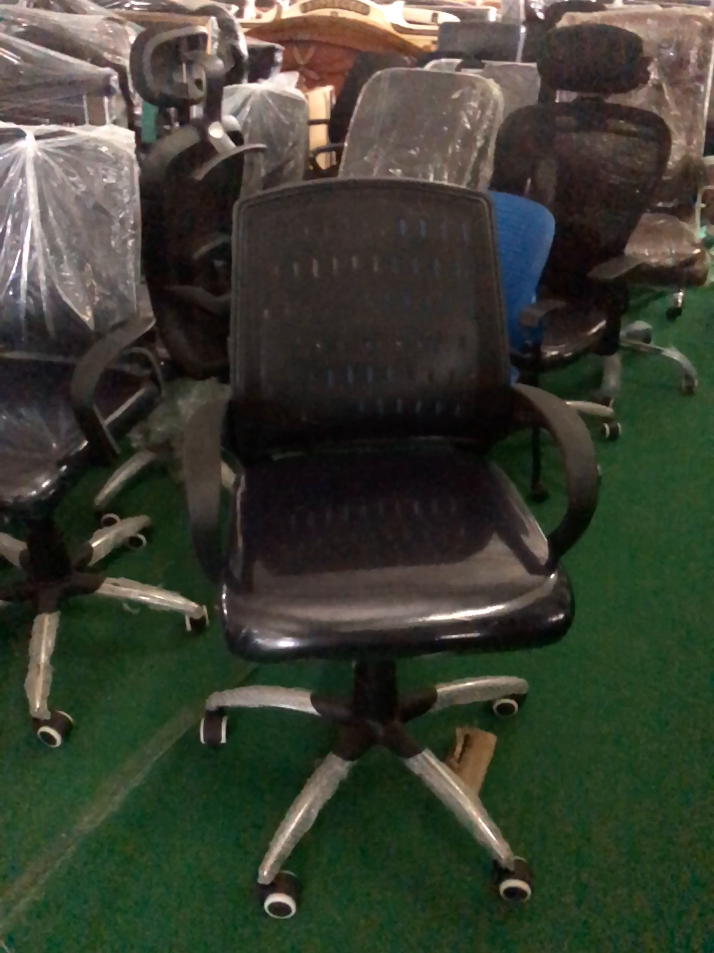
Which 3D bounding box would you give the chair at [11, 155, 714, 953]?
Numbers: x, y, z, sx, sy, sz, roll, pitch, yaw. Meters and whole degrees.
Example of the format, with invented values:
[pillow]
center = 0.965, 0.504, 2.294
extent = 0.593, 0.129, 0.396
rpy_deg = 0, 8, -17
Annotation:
[chair]
center = 0.022, 0.069, 1.323
extent = 0.730, 0.995, 0.874
rpy_deg = -3, 32, -6
